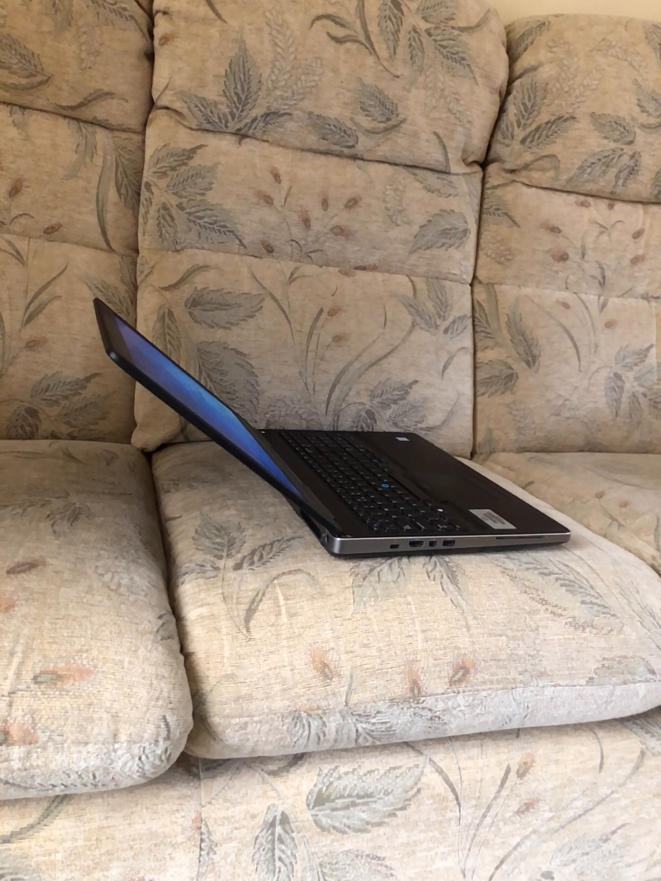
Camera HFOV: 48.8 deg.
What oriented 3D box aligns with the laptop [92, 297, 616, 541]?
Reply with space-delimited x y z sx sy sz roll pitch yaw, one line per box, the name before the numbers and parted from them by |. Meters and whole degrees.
laptop | -0.017 -0.037 0.794 0.451 0.157 0.356 1 18 -19
